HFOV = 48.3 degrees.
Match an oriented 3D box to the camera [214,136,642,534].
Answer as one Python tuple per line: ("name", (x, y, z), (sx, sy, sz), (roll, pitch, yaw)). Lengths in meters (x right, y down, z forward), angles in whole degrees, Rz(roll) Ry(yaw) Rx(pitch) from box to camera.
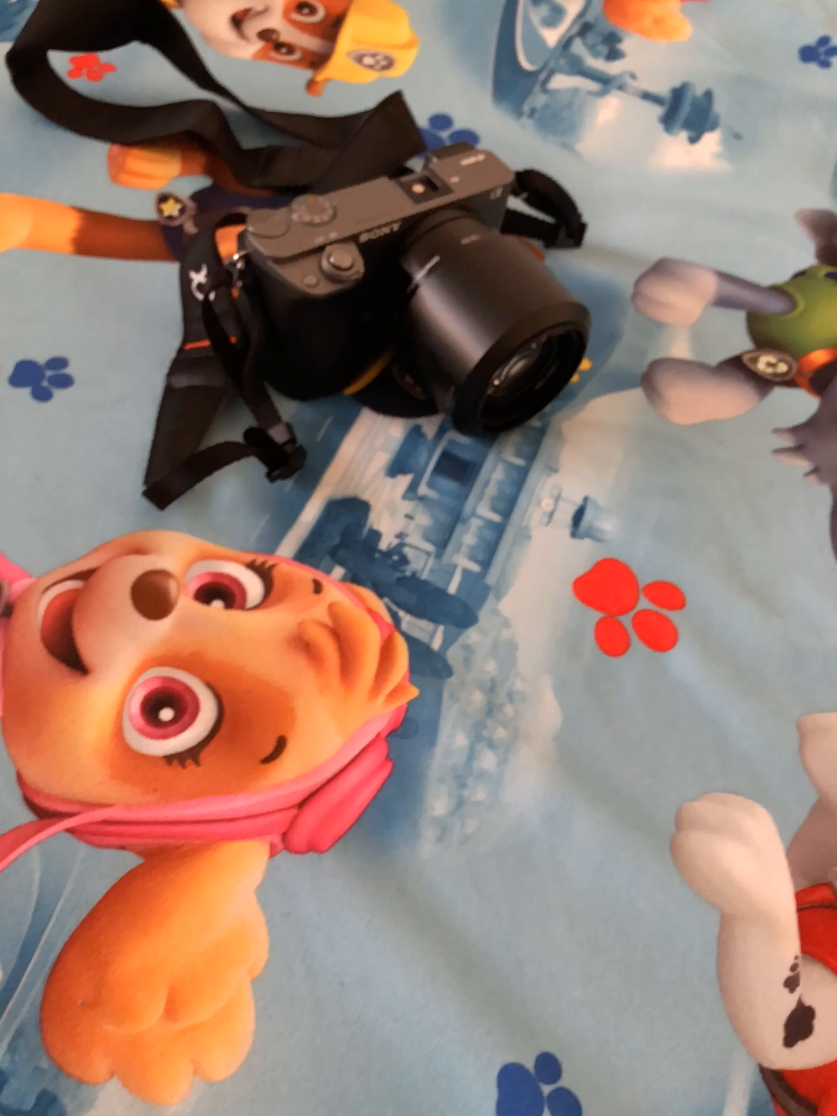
("camera", (0.000, -0.099, 0.400), (0.130, 0.080, 0.110), (-28, 64, -24))
